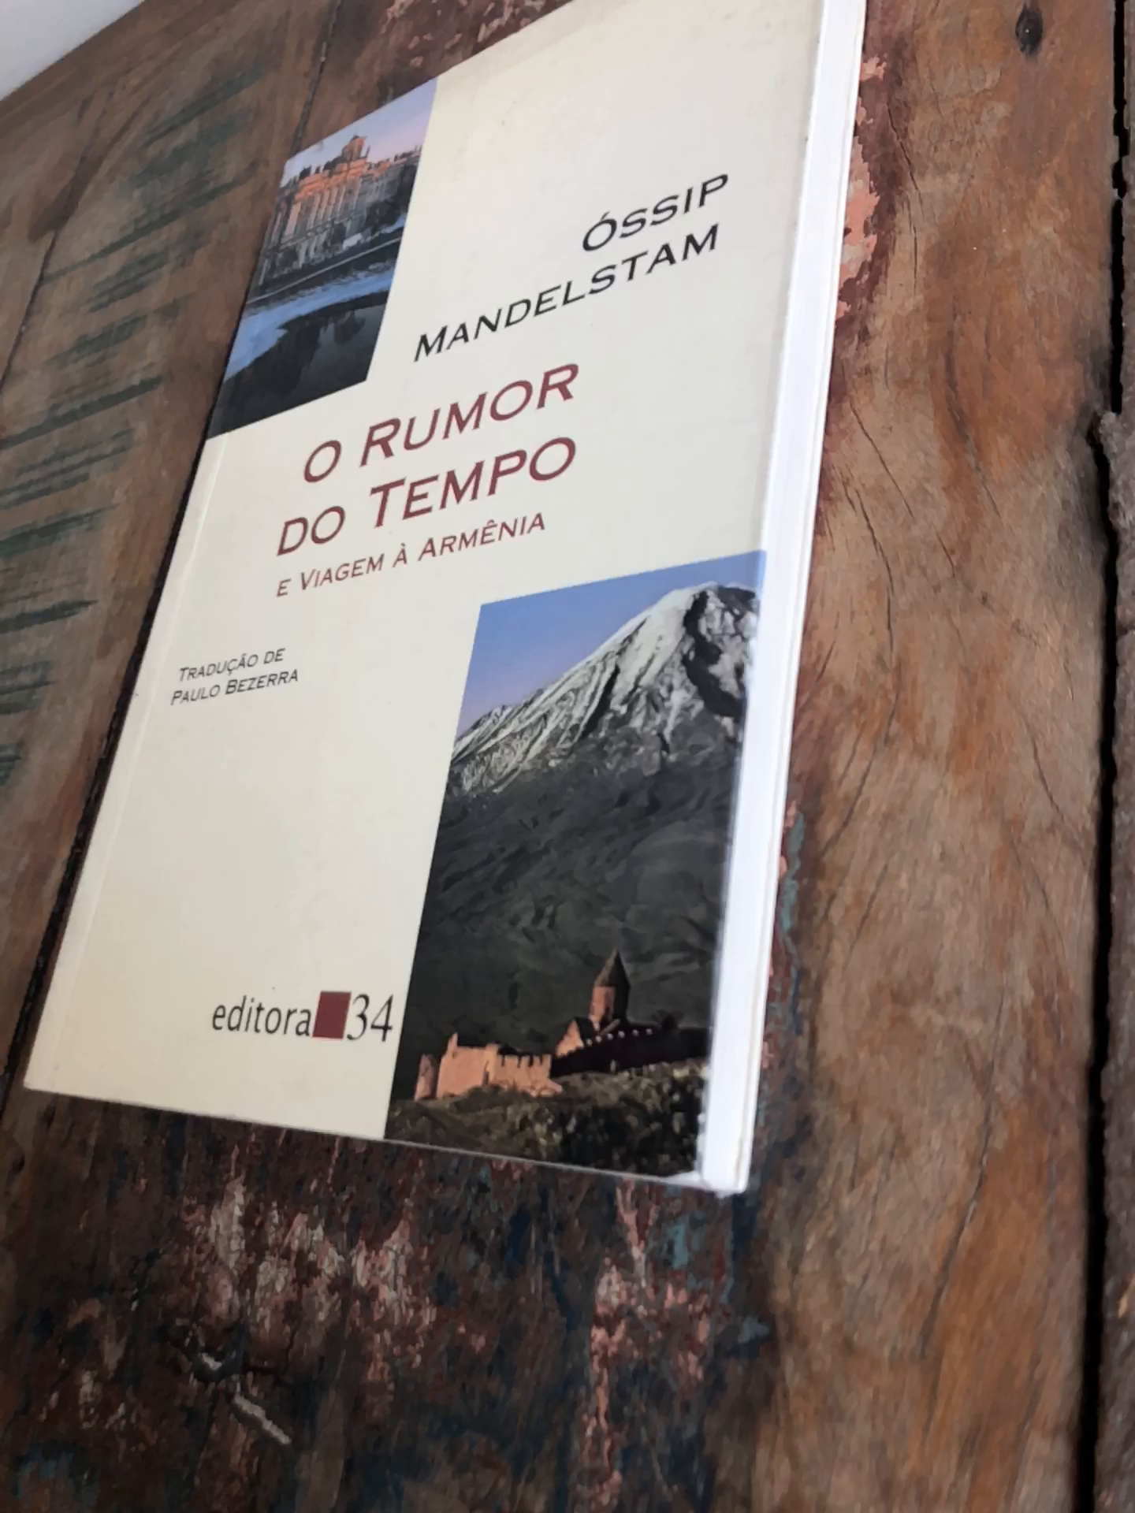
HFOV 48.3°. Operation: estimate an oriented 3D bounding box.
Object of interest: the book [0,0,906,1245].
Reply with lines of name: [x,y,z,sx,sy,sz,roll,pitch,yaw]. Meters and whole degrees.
book: [-0.023,-0.041,0.212,0.141,0.022,0.207,-5,67,38]
